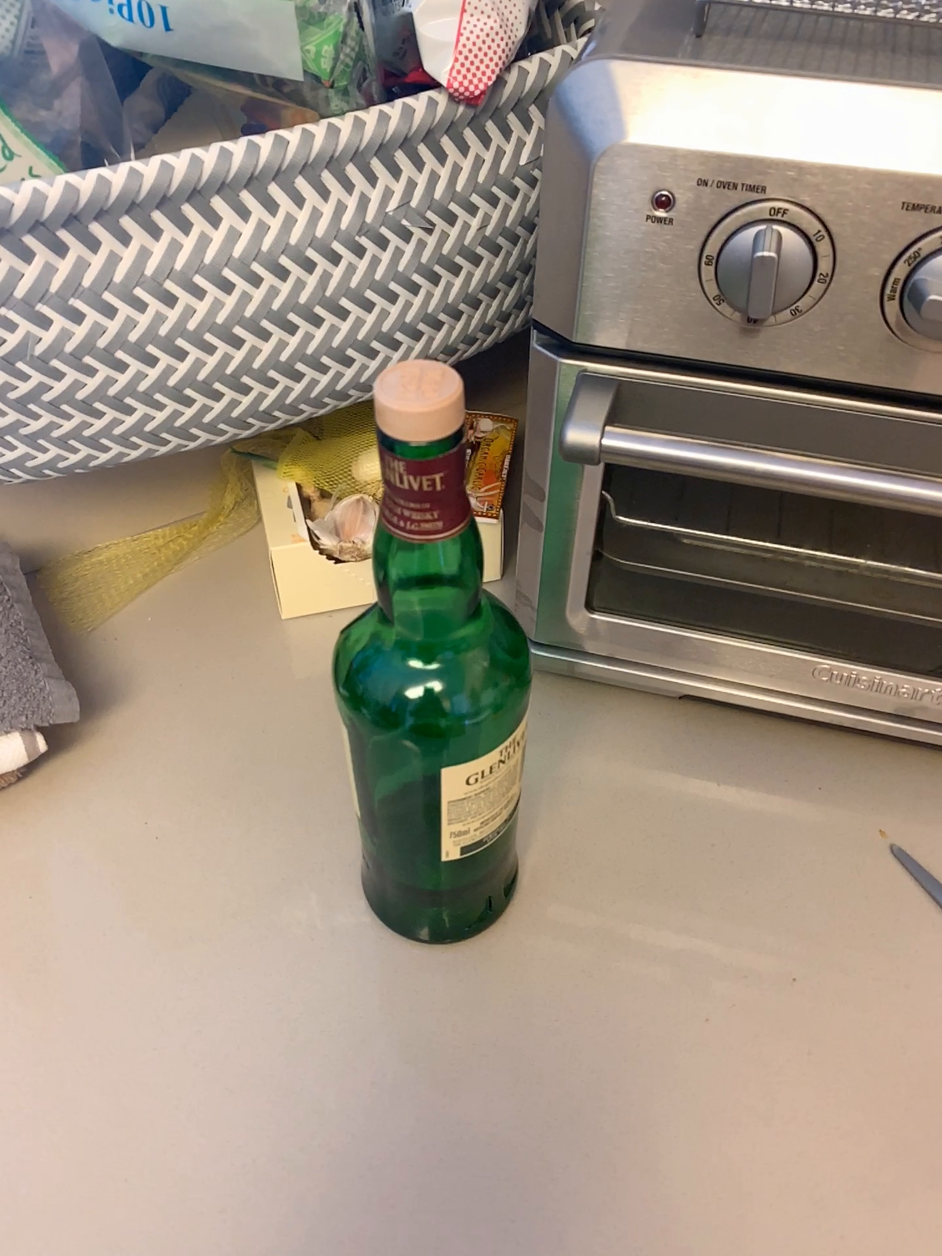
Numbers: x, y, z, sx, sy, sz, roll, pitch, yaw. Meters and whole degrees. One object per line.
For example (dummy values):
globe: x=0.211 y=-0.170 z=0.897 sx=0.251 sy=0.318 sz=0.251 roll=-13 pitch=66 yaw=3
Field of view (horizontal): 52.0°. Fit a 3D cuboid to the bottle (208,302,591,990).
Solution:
bottle: x=-0.020 y=0.029 z=0.382 sx=0.080 sy=0.278 sz=0.080 roll=0 pitch=46 yaw=0
